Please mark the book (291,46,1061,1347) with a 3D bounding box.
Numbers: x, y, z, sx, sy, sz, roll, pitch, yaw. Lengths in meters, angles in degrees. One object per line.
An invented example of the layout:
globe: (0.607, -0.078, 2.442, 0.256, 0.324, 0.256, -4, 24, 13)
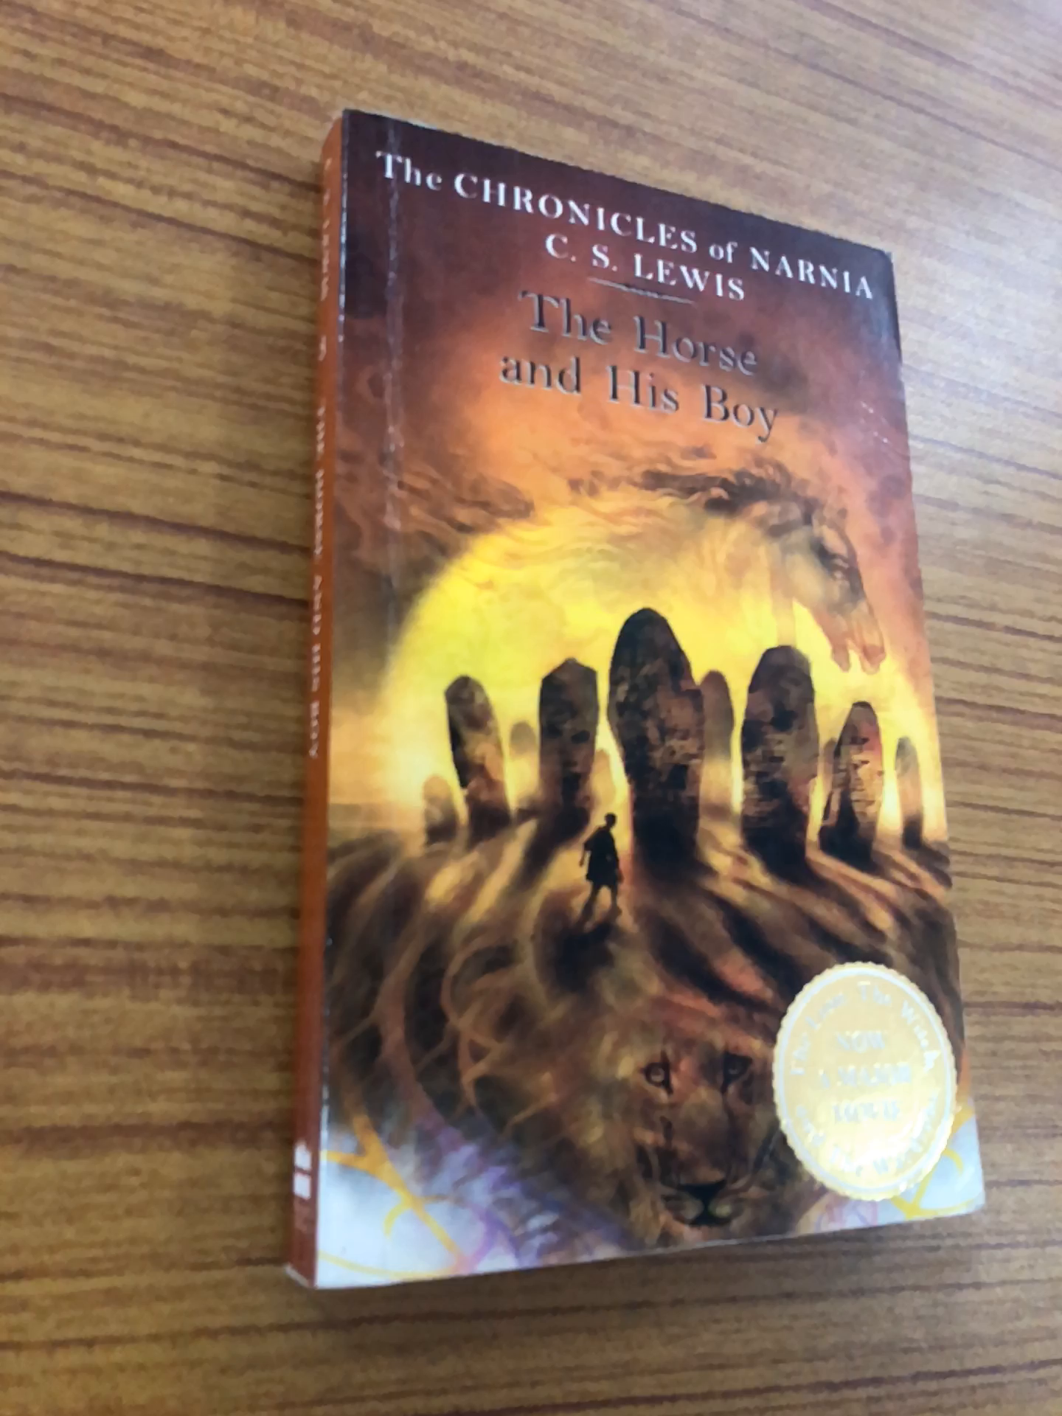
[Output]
book: (0.026, -0.005, 0.192, 0.120, 0.020, 0.180, 5, 76, -23)
